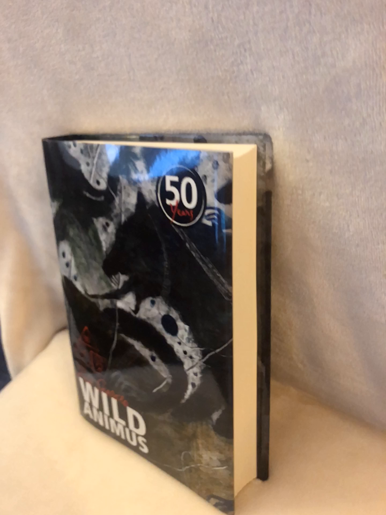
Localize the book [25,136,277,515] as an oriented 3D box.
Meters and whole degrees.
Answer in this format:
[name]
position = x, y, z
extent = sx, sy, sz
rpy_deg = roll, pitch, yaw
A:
[book]
position = -0.031, 0.034, 0.287
extent = 0.163, 0.216, 0.043
rpy_deg = 13, 24, 37
